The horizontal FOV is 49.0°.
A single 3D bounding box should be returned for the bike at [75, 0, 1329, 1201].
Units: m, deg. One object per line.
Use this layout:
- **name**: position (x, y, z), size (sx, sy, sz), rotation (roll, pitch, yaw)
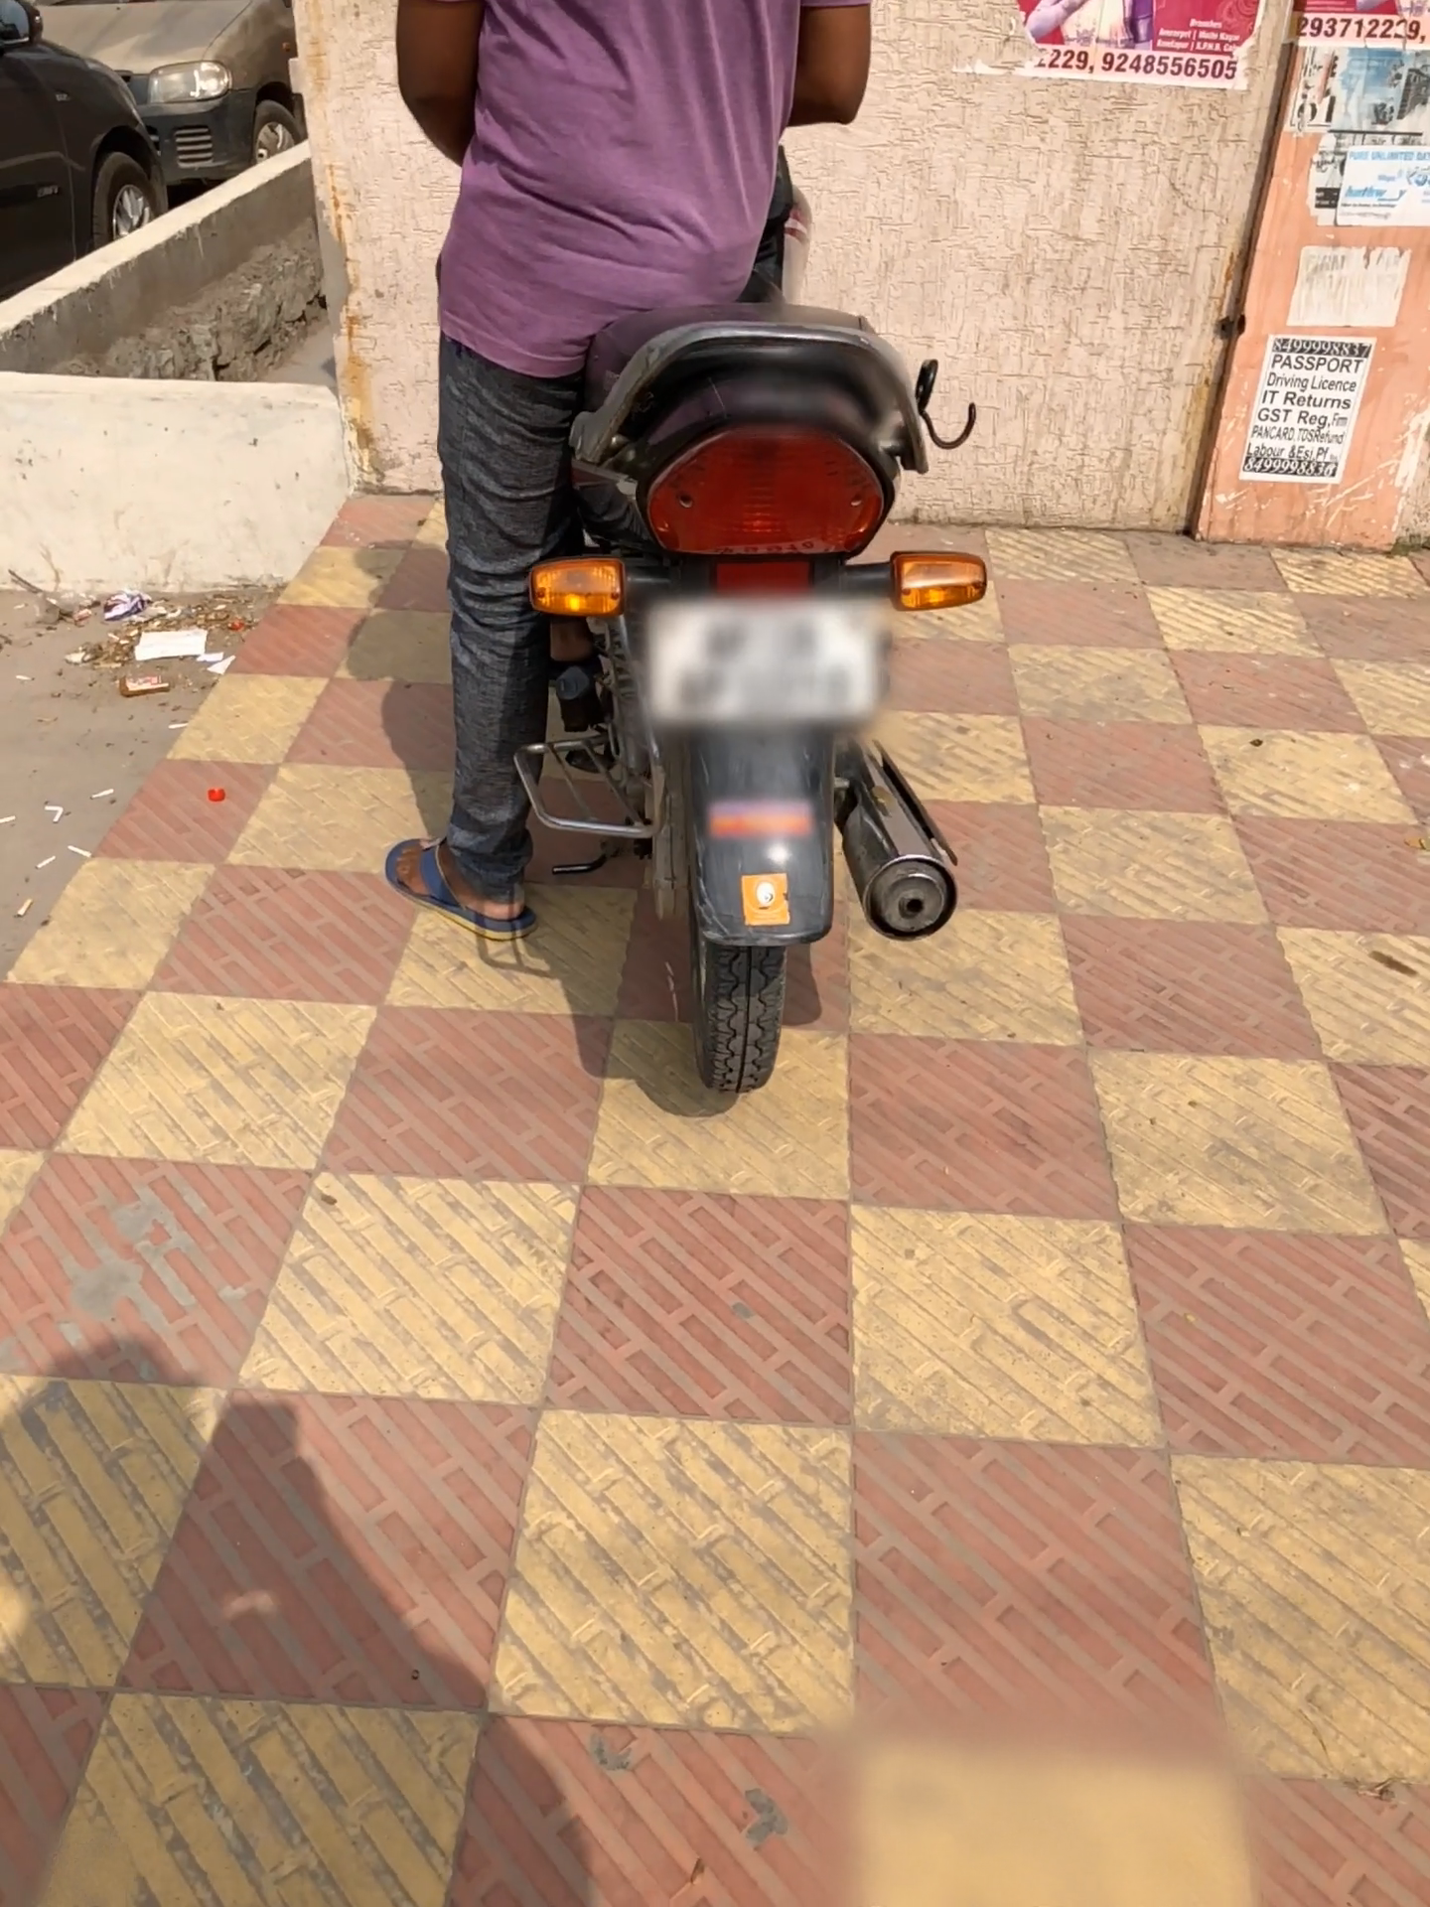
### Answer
- **bike**: position (-0.202, -0.688, 2.102), size (0.892, 1.066, 1.731), rotation (-6, 37, -10)
